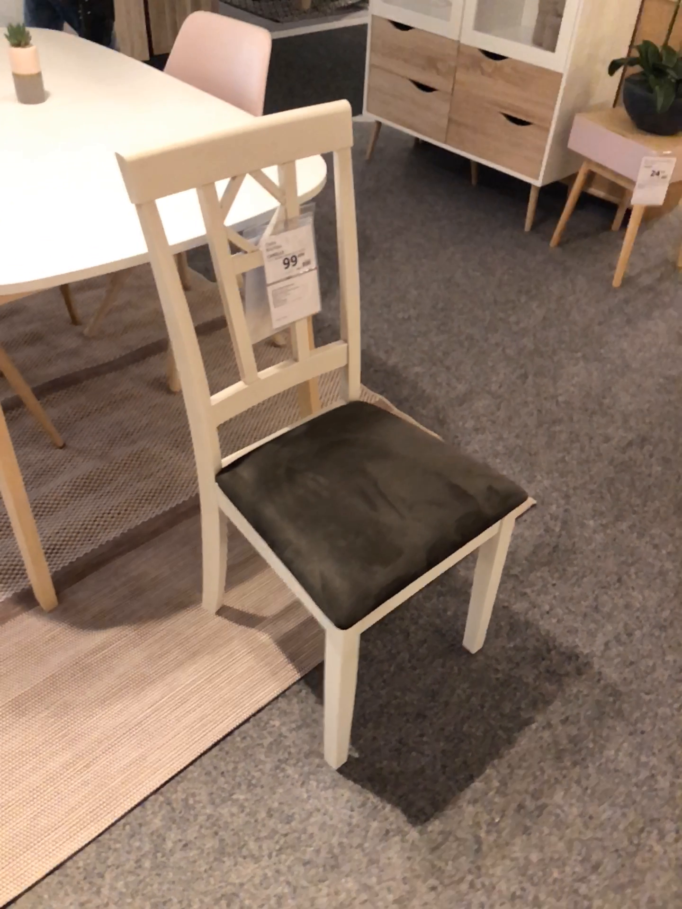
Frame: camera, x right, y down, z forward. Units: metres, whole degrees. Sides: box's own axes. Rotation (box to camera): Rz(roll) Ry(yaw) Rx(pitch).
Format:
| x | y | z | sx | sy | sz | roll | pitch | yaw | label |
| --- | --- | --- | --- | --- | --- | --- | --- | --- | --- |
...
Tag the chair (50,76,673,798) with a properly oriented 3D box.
| x | y | z | sx | sy | sz | roll | pitch | yaw | label |
| --- | --- | --- | --- | --- | --- | --- | --- | --- | --- |
| -0.004 | -0.029 | 1.186 | 0.512 | 0.855 | 0.560 | -29 | 51 | -32 | chair |
